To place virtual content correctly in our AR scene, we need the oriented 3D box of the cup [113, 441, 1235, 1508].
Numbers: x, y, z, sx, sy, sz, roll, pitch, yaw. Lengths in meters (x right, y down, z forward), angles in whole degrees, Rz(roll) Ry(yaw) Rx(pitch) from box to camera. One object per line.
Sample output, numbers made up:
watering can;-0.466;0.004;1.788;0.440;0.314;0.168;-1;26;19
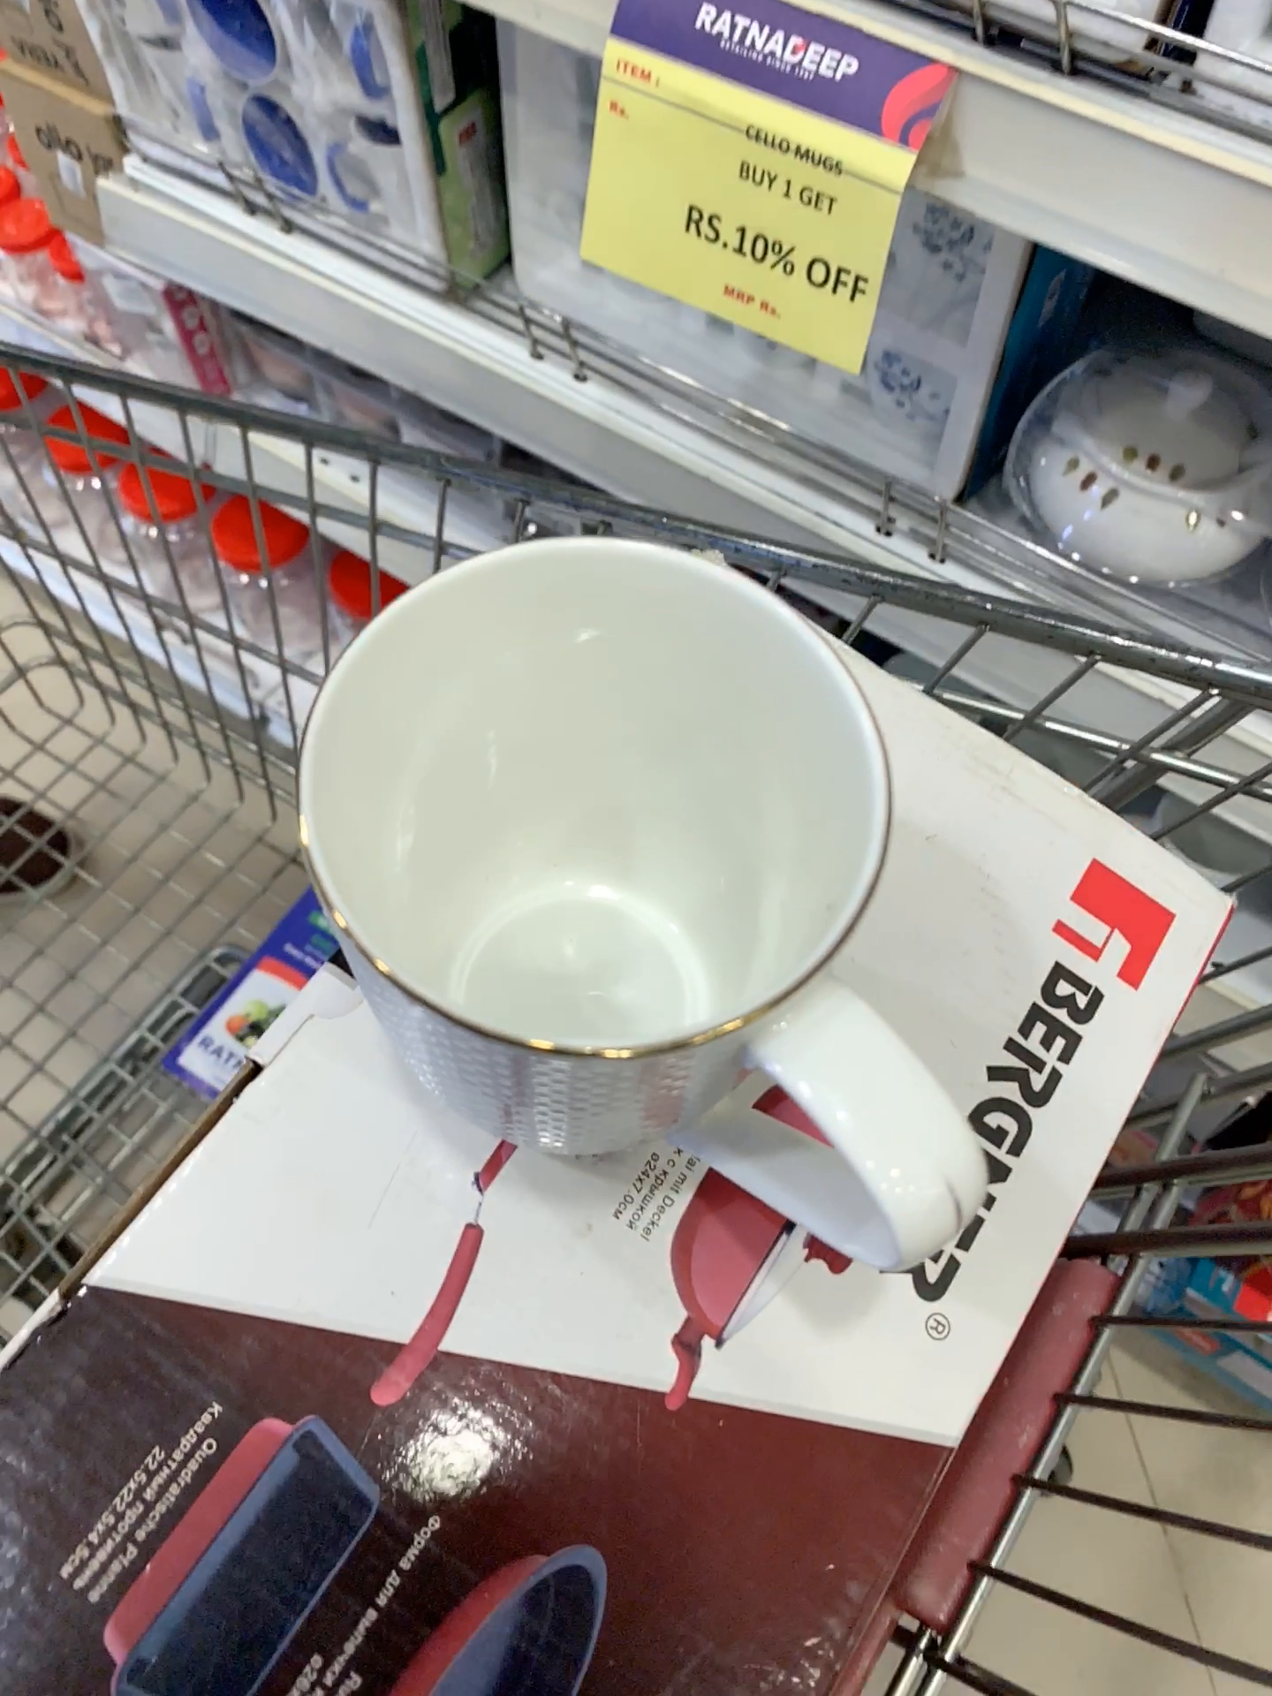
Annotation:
cup;0.002;0.020;0.208;0.090;0.080;0.120;-39;69;-19
